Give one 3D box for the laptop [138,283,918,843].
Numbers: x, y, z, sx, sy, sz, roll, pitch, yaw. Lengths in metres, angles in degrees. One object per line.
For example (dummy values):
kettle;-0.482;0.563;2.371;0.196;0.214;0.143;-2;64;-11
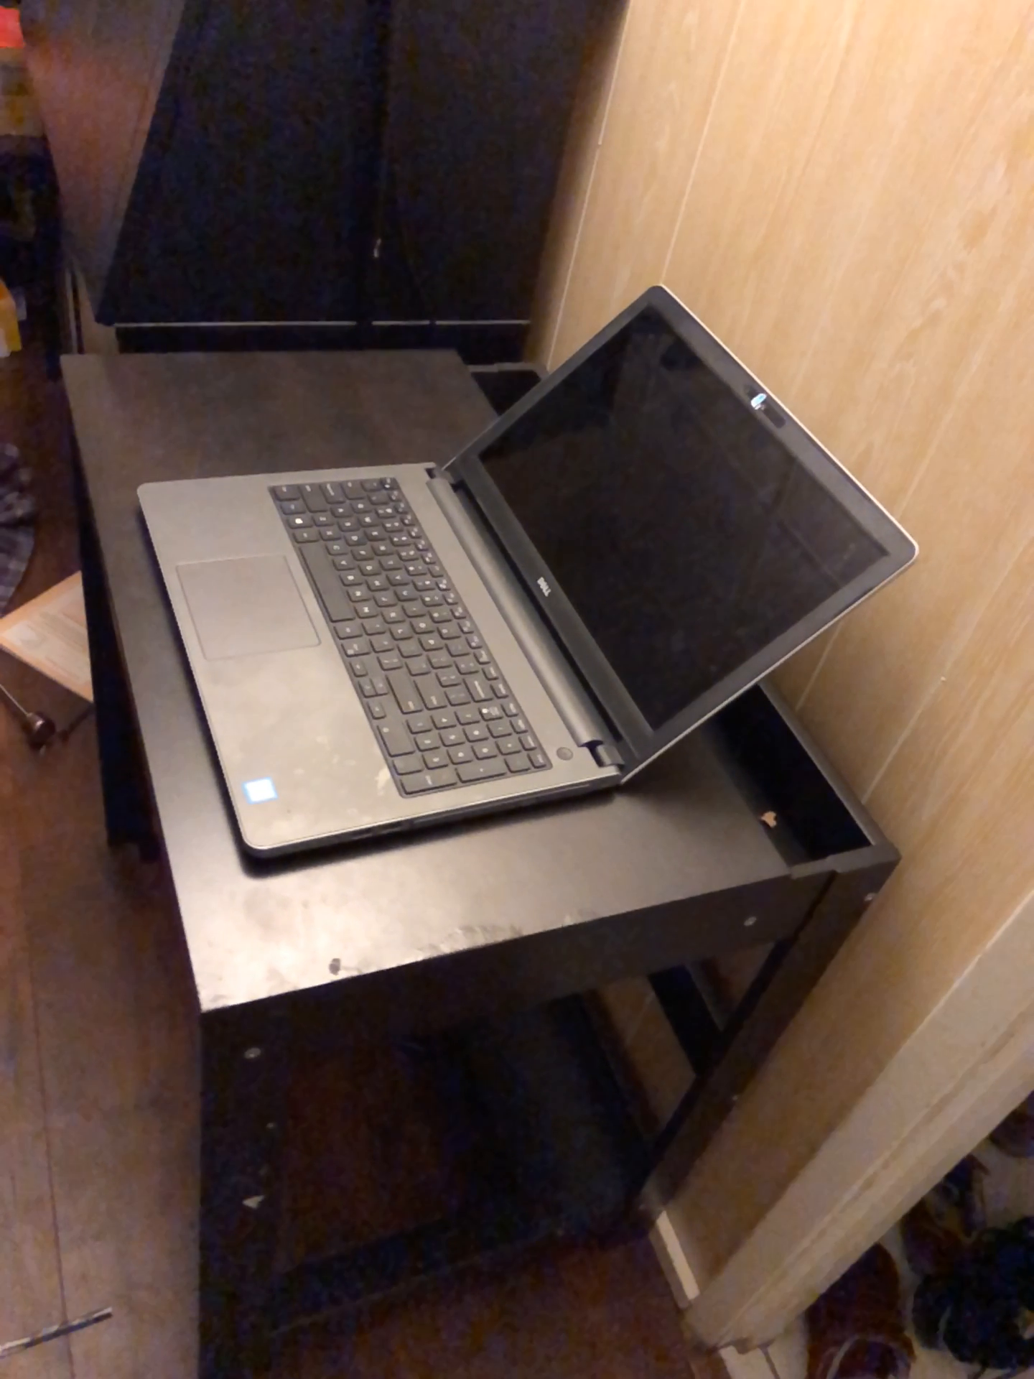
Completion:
laptop;-0.018;-0.125;0.818;0.426;0.172;0.369;-8;47;-24
